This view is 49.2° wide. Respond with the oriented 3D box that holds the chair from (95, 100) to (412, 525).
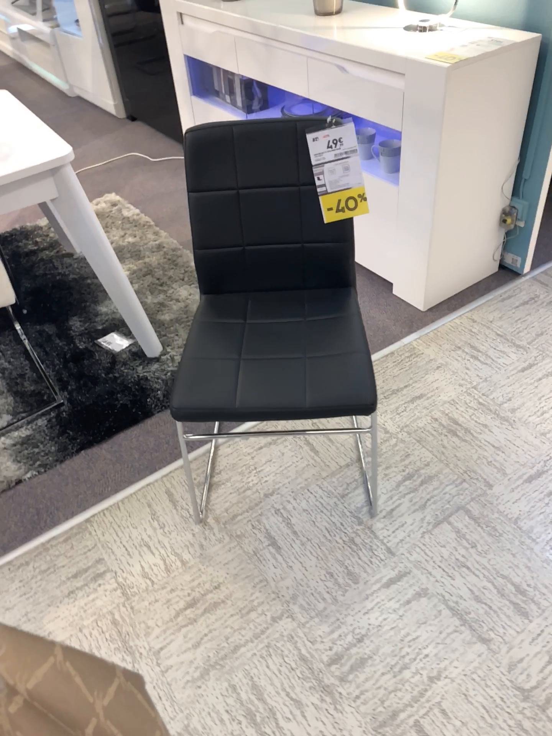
[{"bbox_3d":[-0.010,-0.109,1.454,0.520,0.825,0.539,-4,40,2],"label":"chair"}]
